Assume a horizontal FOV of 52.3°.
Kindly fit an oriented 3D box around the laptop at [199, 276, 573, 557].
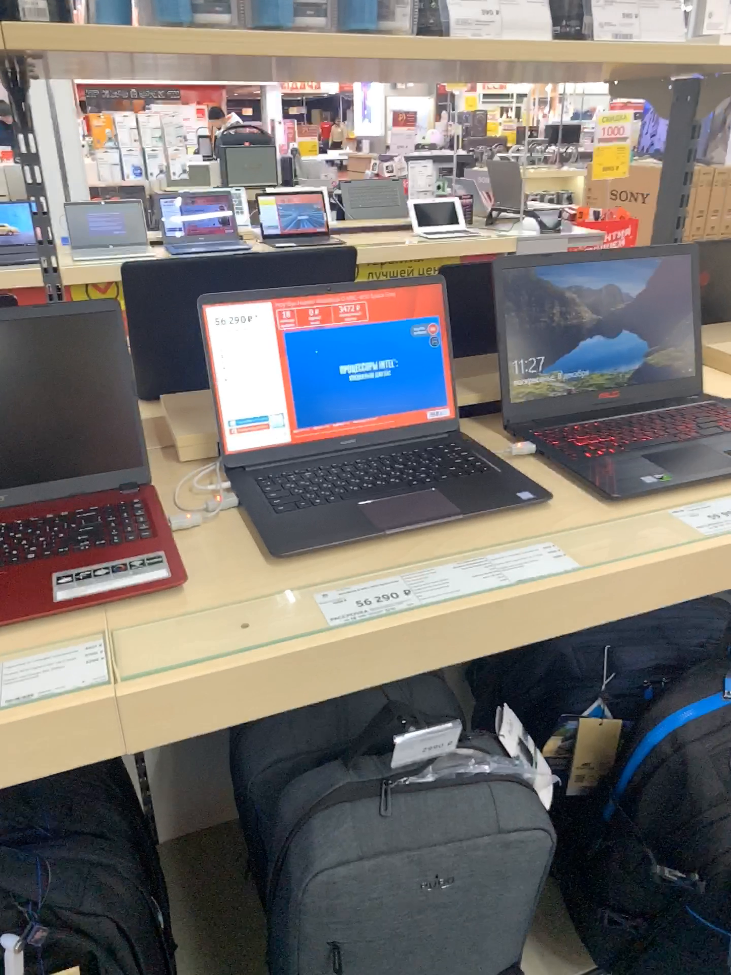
[{"bbox_3d":[0.009,-0.115,0.920,0.348,0.209,0.304,-10,27,-20],"label":"laptop"}]
